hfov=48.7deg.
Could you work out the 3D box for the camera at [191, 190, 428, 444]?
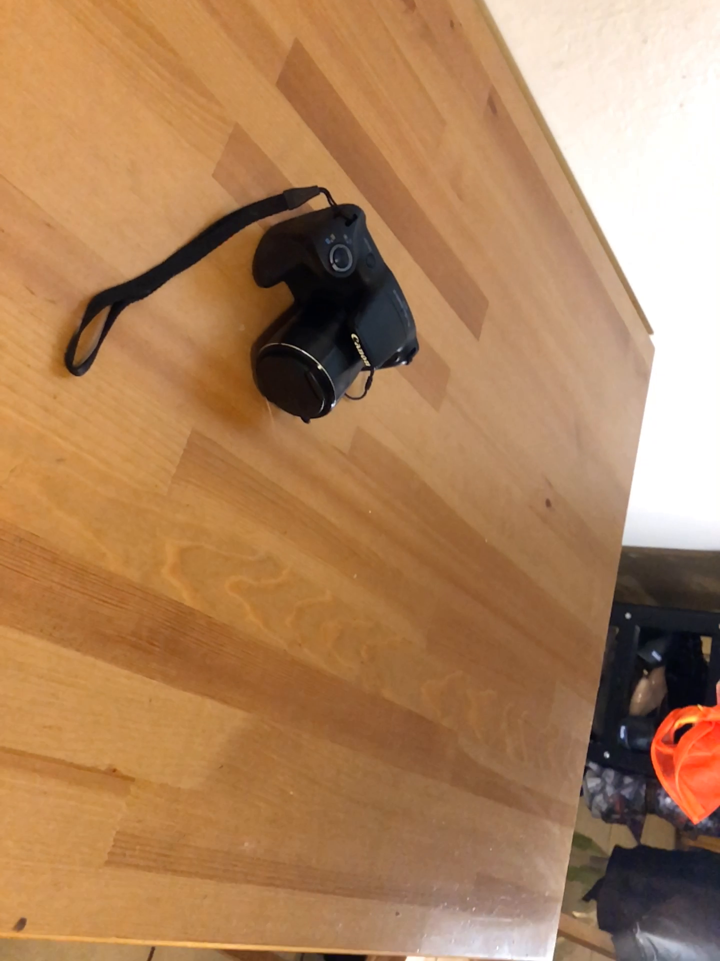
[{"bbox_3d":[-0.025,-0.096,0.482,0.097,0.062,0.109,-56,131,-35],"label":"camera"}]
